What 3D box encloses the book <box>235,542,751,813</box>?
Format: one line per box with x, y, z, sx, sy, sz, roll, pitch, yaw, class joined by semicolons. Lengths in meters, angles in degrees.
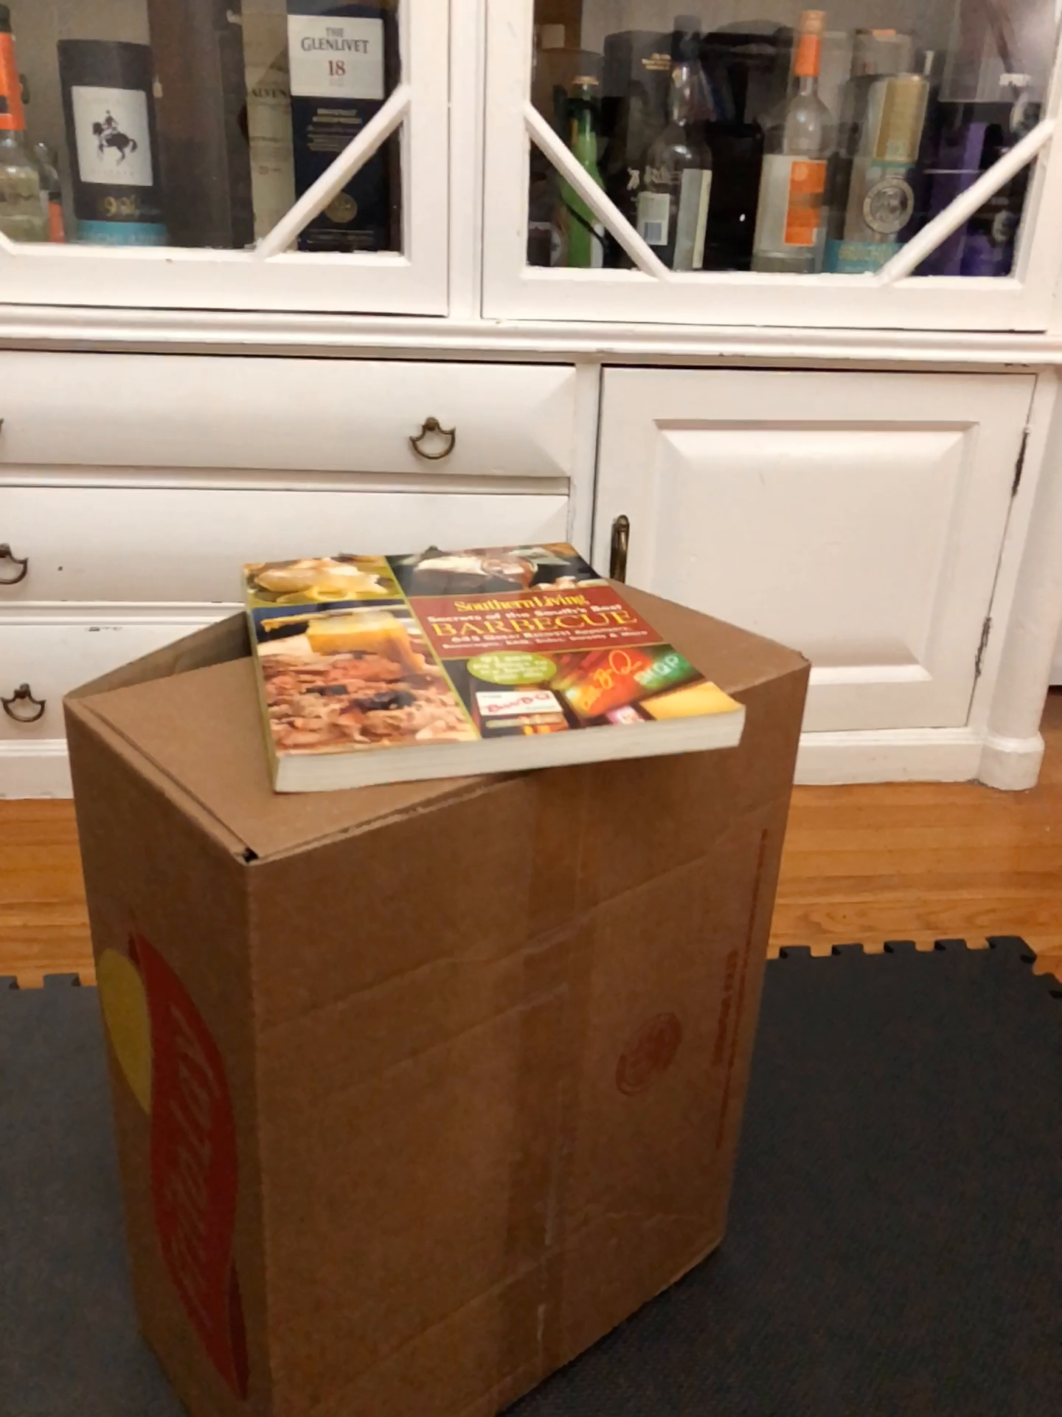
-0.043;-0.035;0.641;0.220;0.020;0.291;-5;26;-15;book
